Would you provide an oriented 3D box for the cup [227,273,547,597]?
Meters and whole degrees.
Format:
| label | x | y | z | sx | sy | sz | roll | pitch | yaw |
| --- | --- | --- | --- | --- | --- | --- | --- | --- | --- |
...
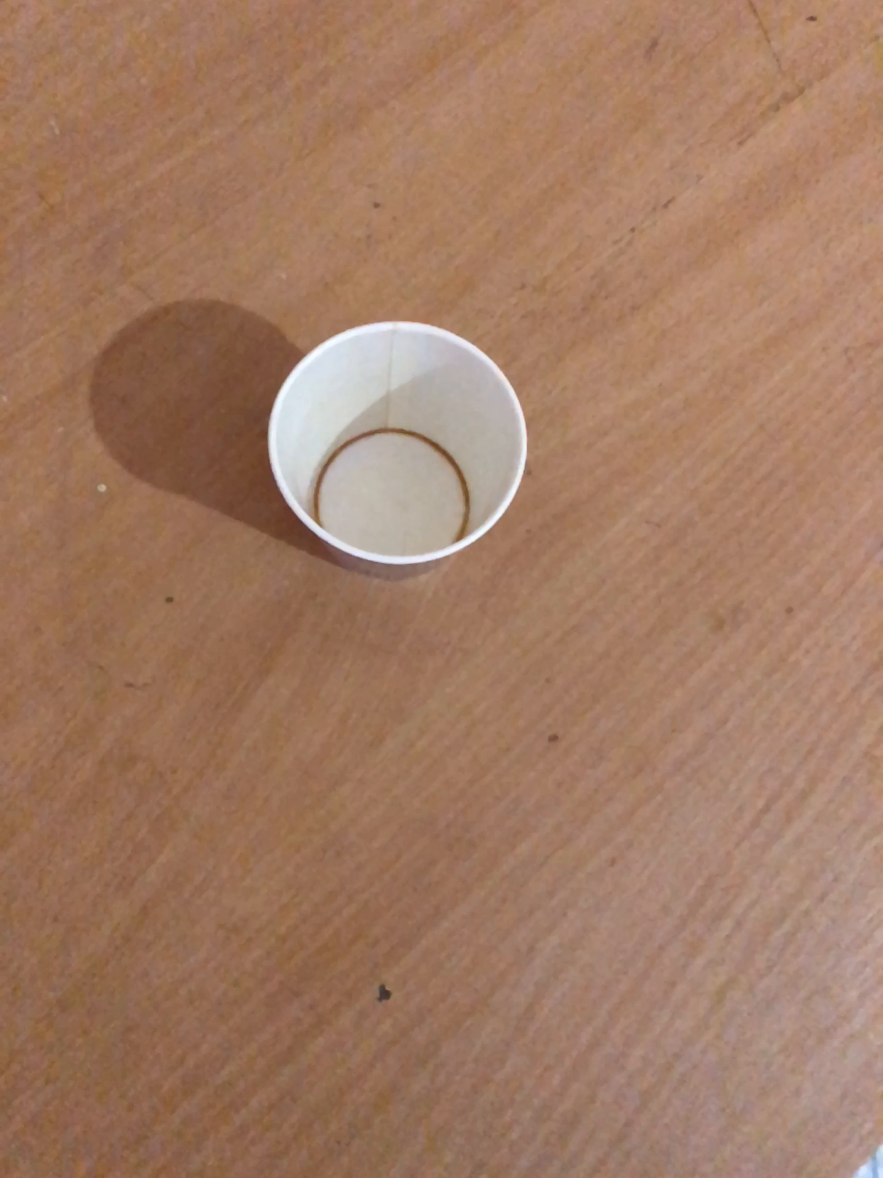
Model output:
| label | x | y | z | sx | sy | sz | roll | pitch | yaw |
| --- | --- | --- | --- | --- | --- | --- | --- | --- | --- |
| cup | -0.016 | -0.042 | 0.298 | 0.074 | 0.064 | 0.067 | 12 | 81 | -2 |
